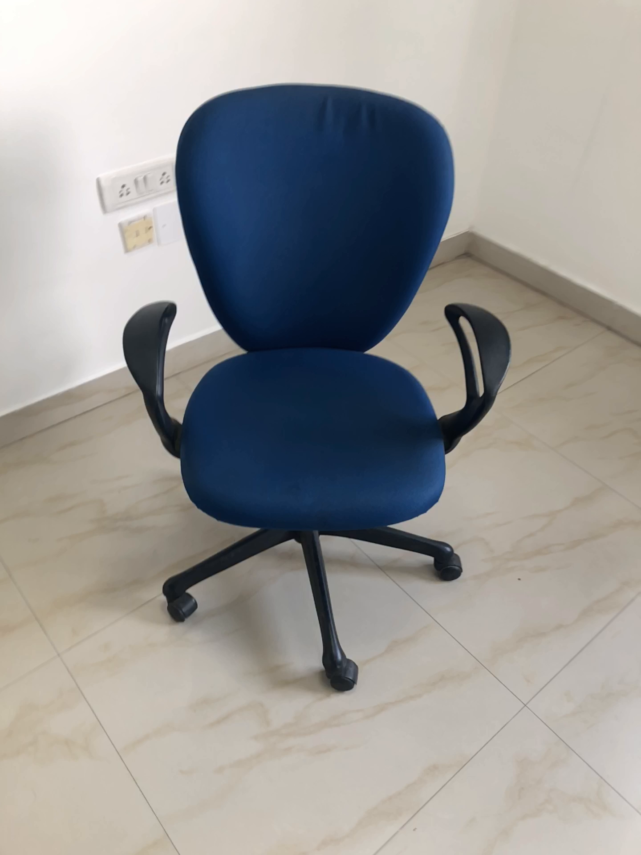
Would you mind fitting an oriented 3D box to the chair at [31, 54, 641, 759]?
[{"bbox_3d":[-0.032,-0.057,1.273,0.651,0.914,0.704,-15,45,-20],"label":"chair"}]
